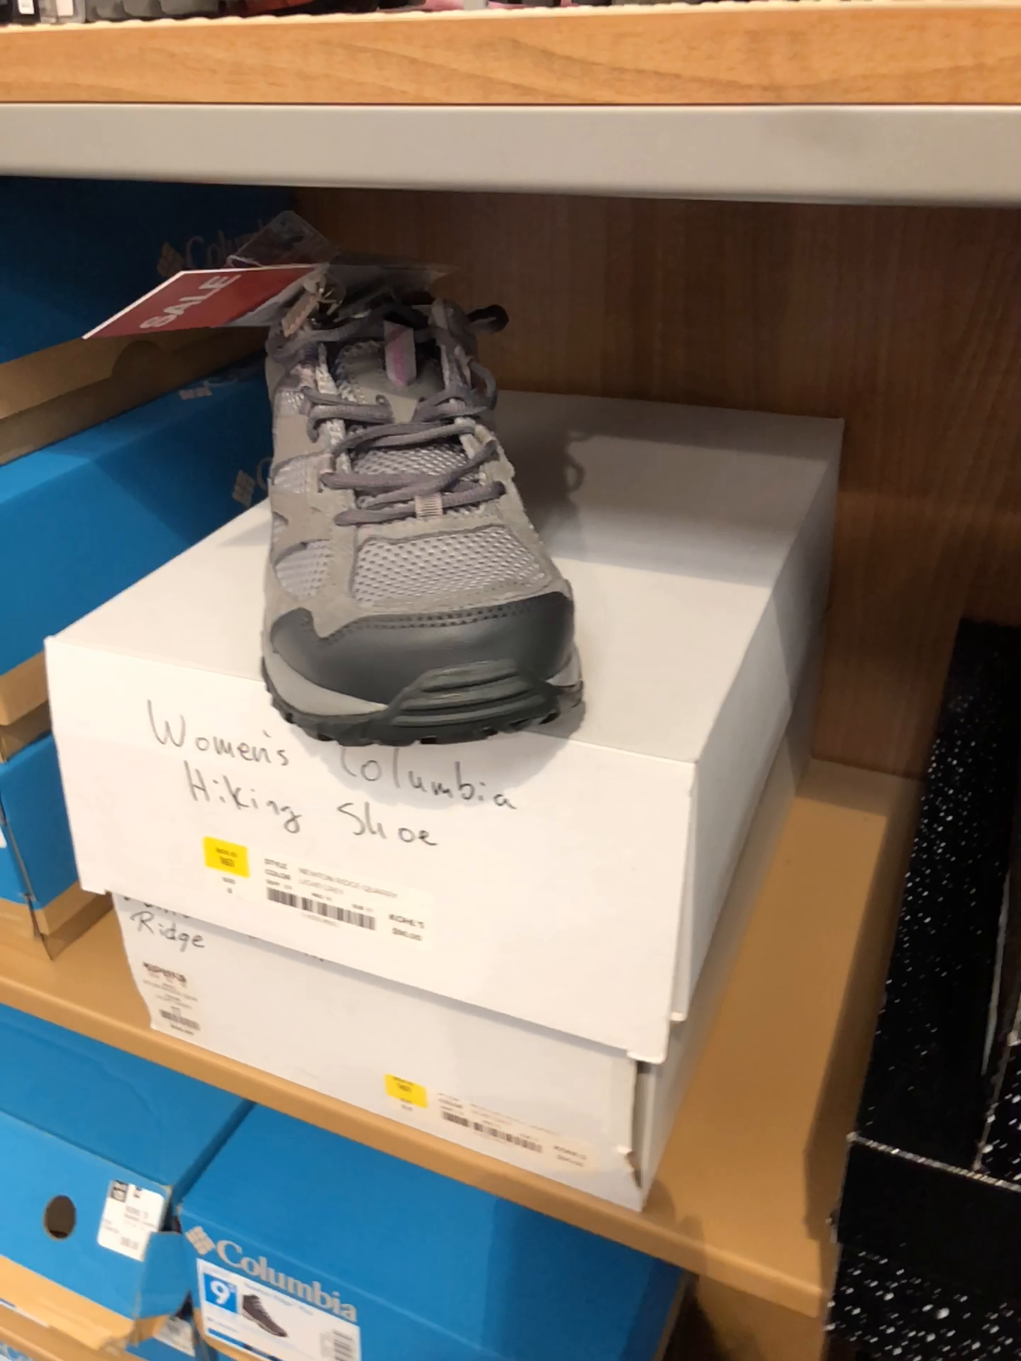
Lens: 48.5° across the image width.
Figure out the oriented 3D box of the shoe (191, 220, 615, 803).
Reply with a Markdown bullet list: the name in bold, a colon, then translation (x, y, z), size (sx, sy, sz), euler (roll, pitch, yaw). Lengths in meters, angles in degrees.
- **shoe**: translation (-0.048, -0.086, 0.420), size (0.104, 0.114, 0.268), euler (-7, 31, -8)
